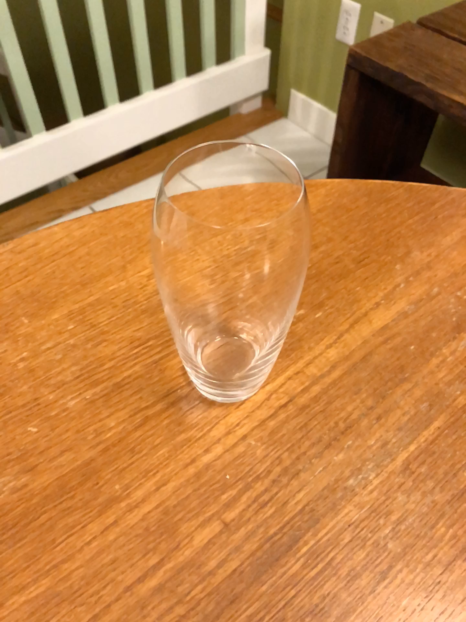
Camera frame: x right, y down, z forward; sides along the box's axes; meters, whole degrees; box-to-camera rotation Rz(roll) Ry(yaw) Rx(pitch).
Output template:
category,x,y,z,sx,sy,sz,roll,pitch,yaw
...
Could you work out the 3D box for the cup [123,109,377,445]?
category,x,y,z,sx,sy,sz,roll,pitch,yaw
cup,0.006,-0.011,0.293,0.081,0.156,0.082,1,51,-1
